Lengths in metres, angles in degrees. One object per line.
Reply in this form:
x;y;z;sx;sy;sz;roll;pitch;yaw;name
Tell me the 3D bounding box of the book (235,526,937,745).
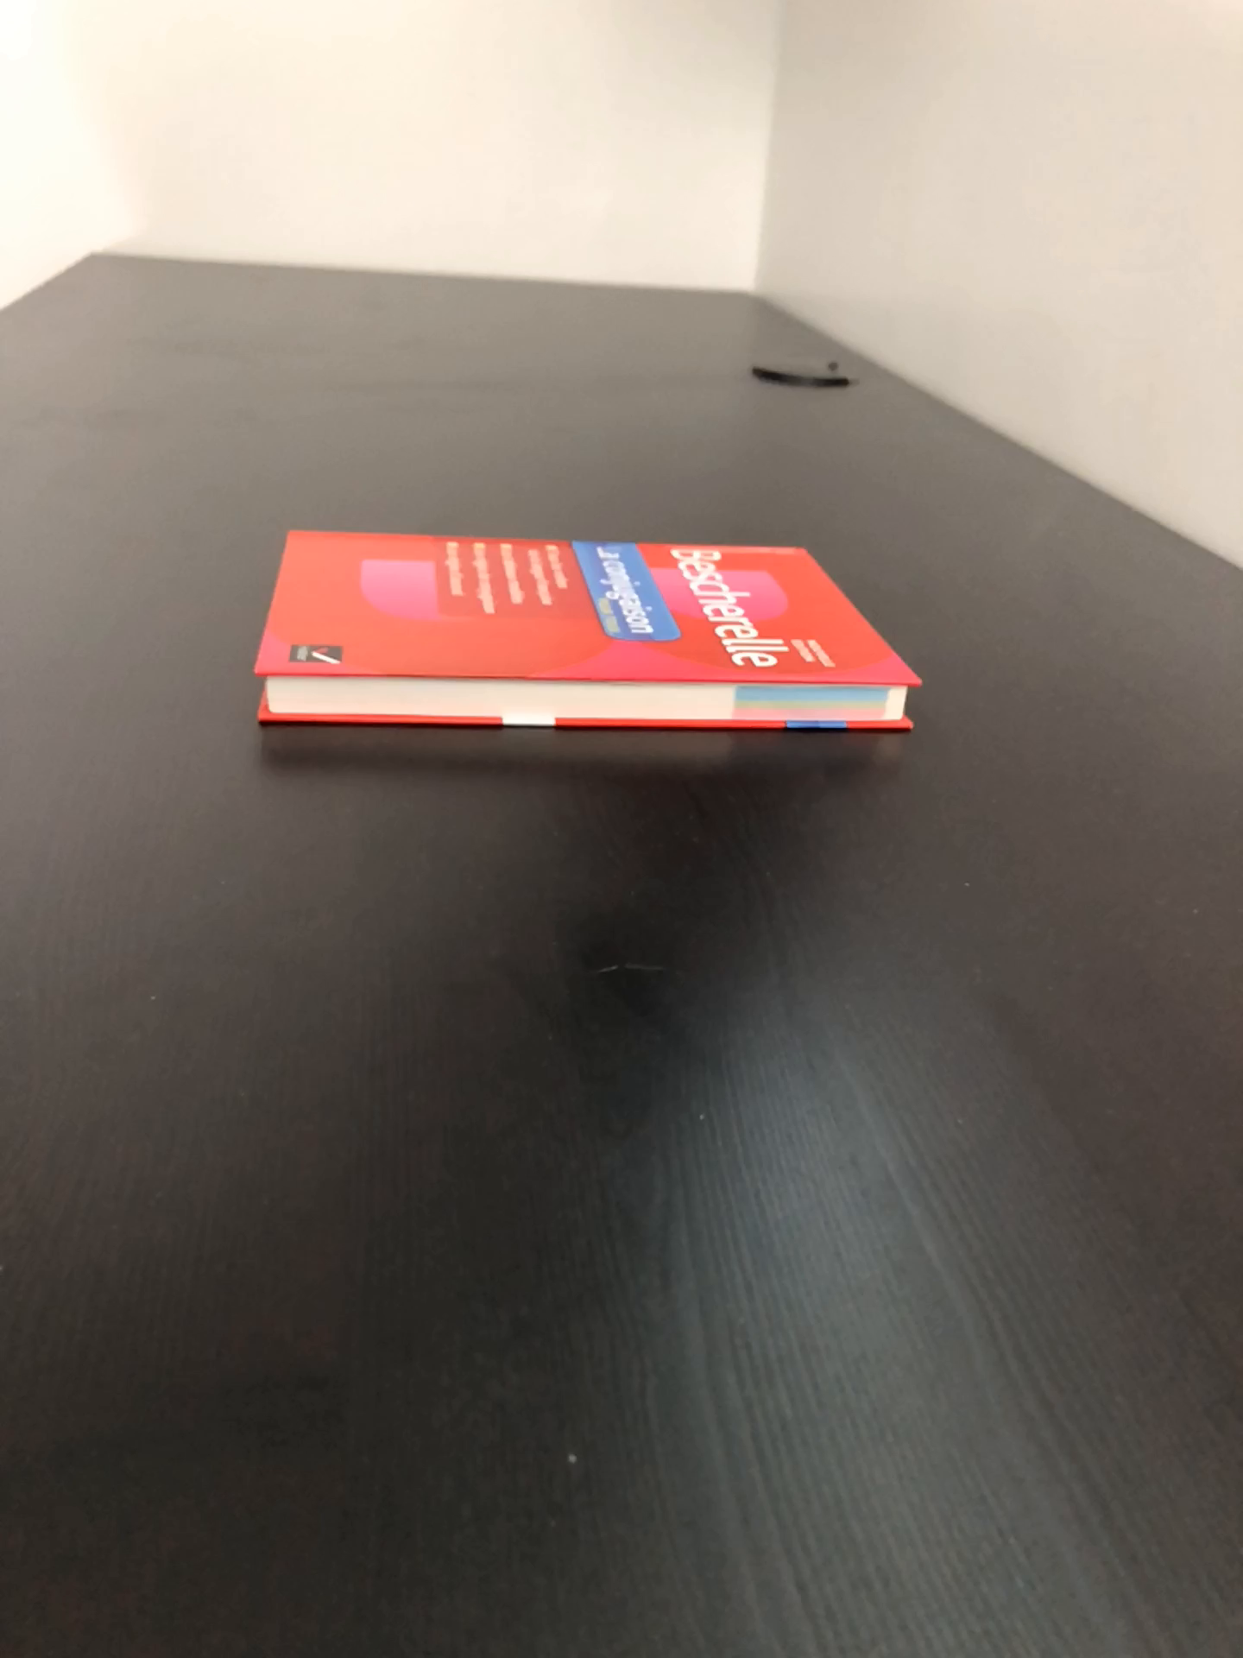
-0.016;-0.069;0.468;0.203;0.020;0.151;0;27;-8;book
